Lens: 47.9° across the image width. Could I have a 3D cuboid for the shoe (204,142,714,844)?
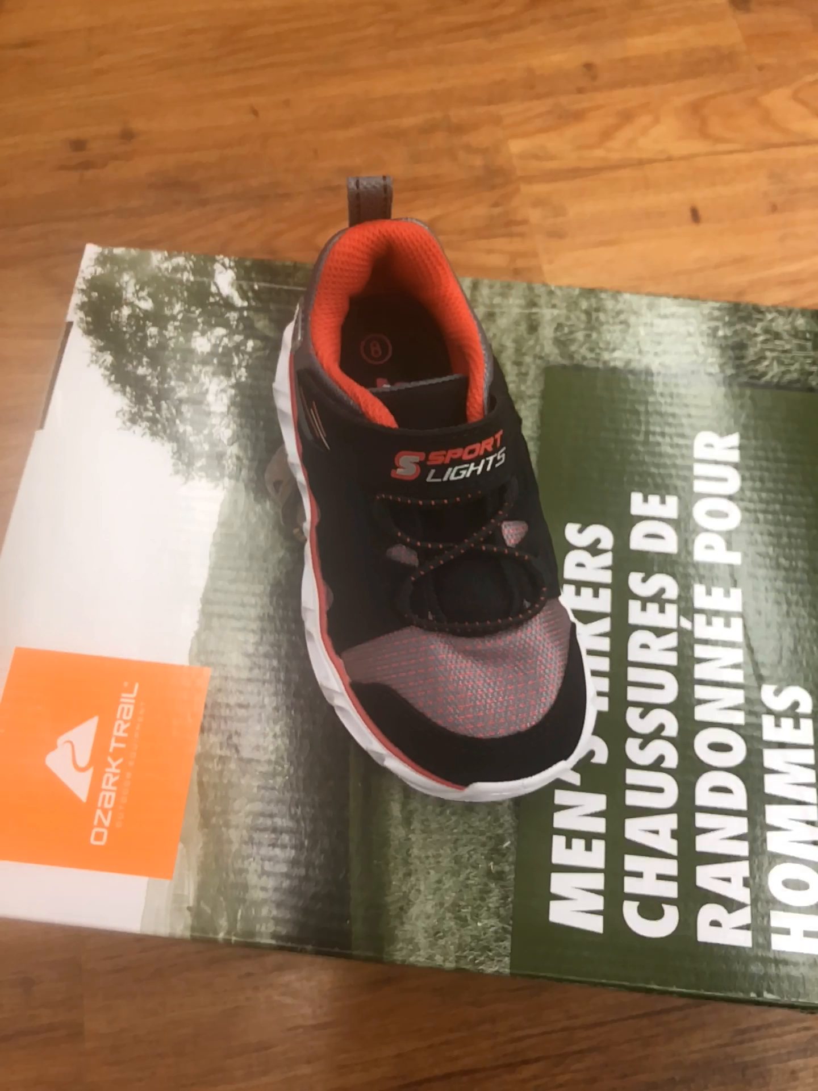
[{"bbox_3d":[0.005,-0.012,0.270,0.090,0.090,0.170,-11,69,-5],"label":"shoe"}]
